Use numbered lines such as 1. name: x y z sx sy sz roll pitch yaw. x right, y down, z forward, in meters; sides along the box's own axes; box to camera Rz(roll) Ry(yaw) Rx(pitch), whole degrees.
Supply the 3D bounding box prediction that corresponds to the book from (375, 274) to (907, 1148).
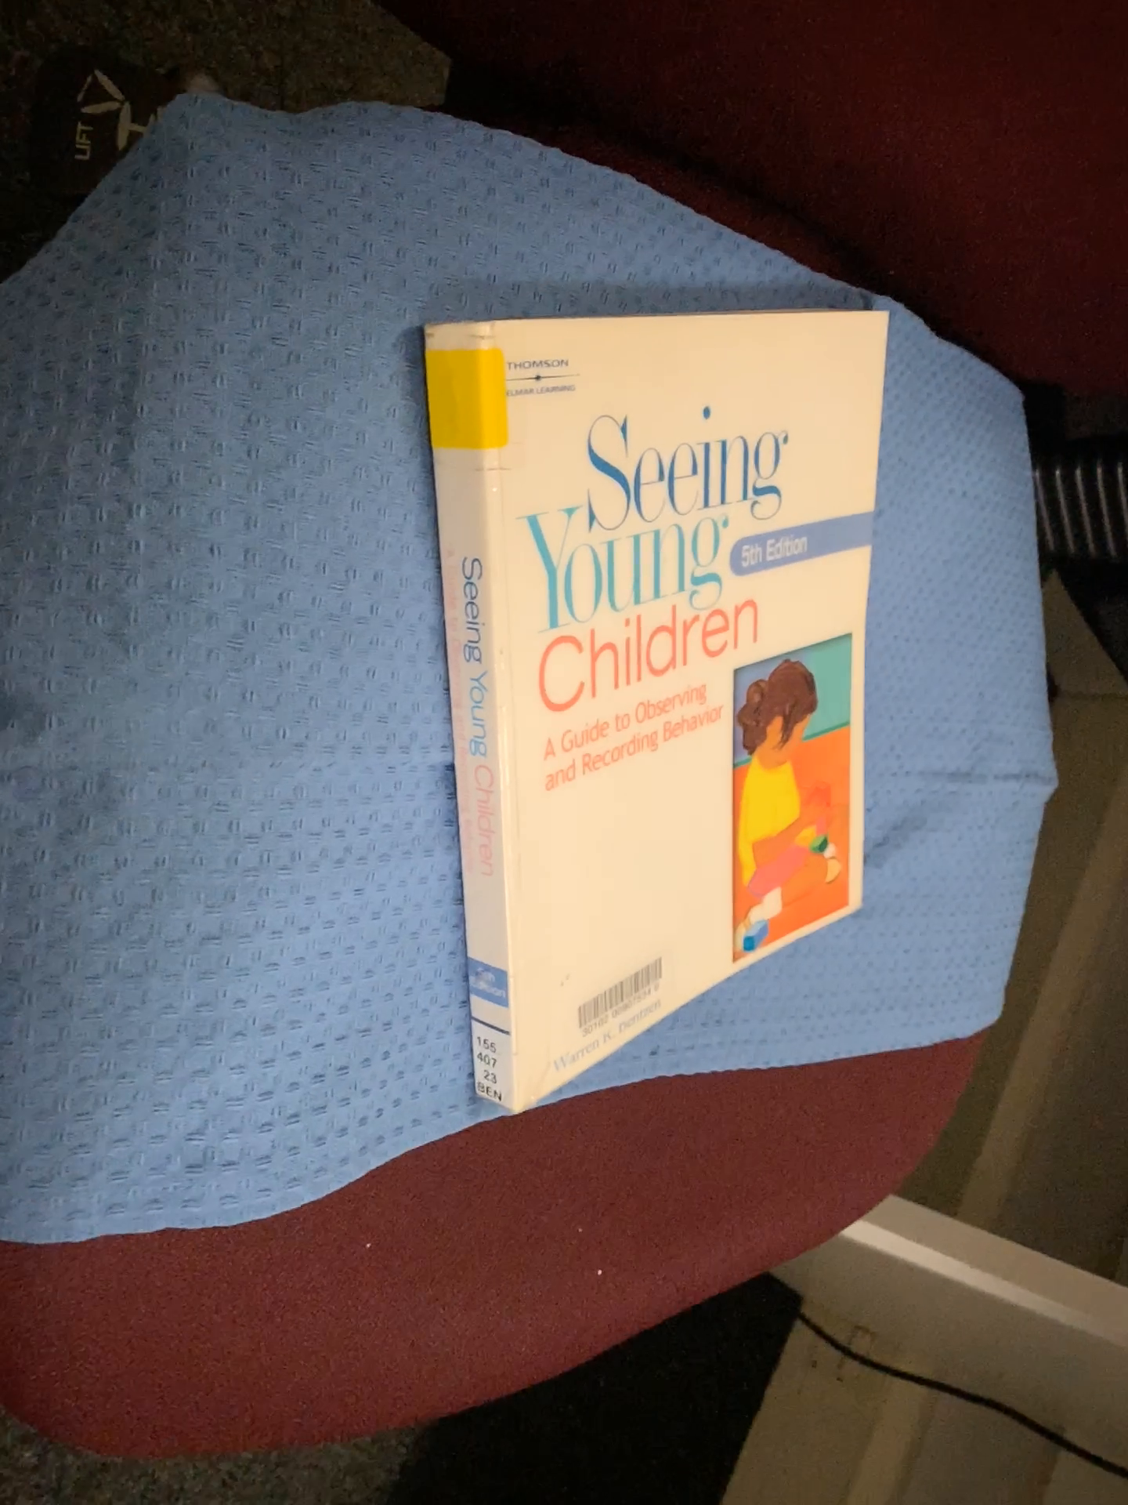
1. book: 0.037 -0.024 0.388 0.201 0.030 0.250 -21 120 -41
